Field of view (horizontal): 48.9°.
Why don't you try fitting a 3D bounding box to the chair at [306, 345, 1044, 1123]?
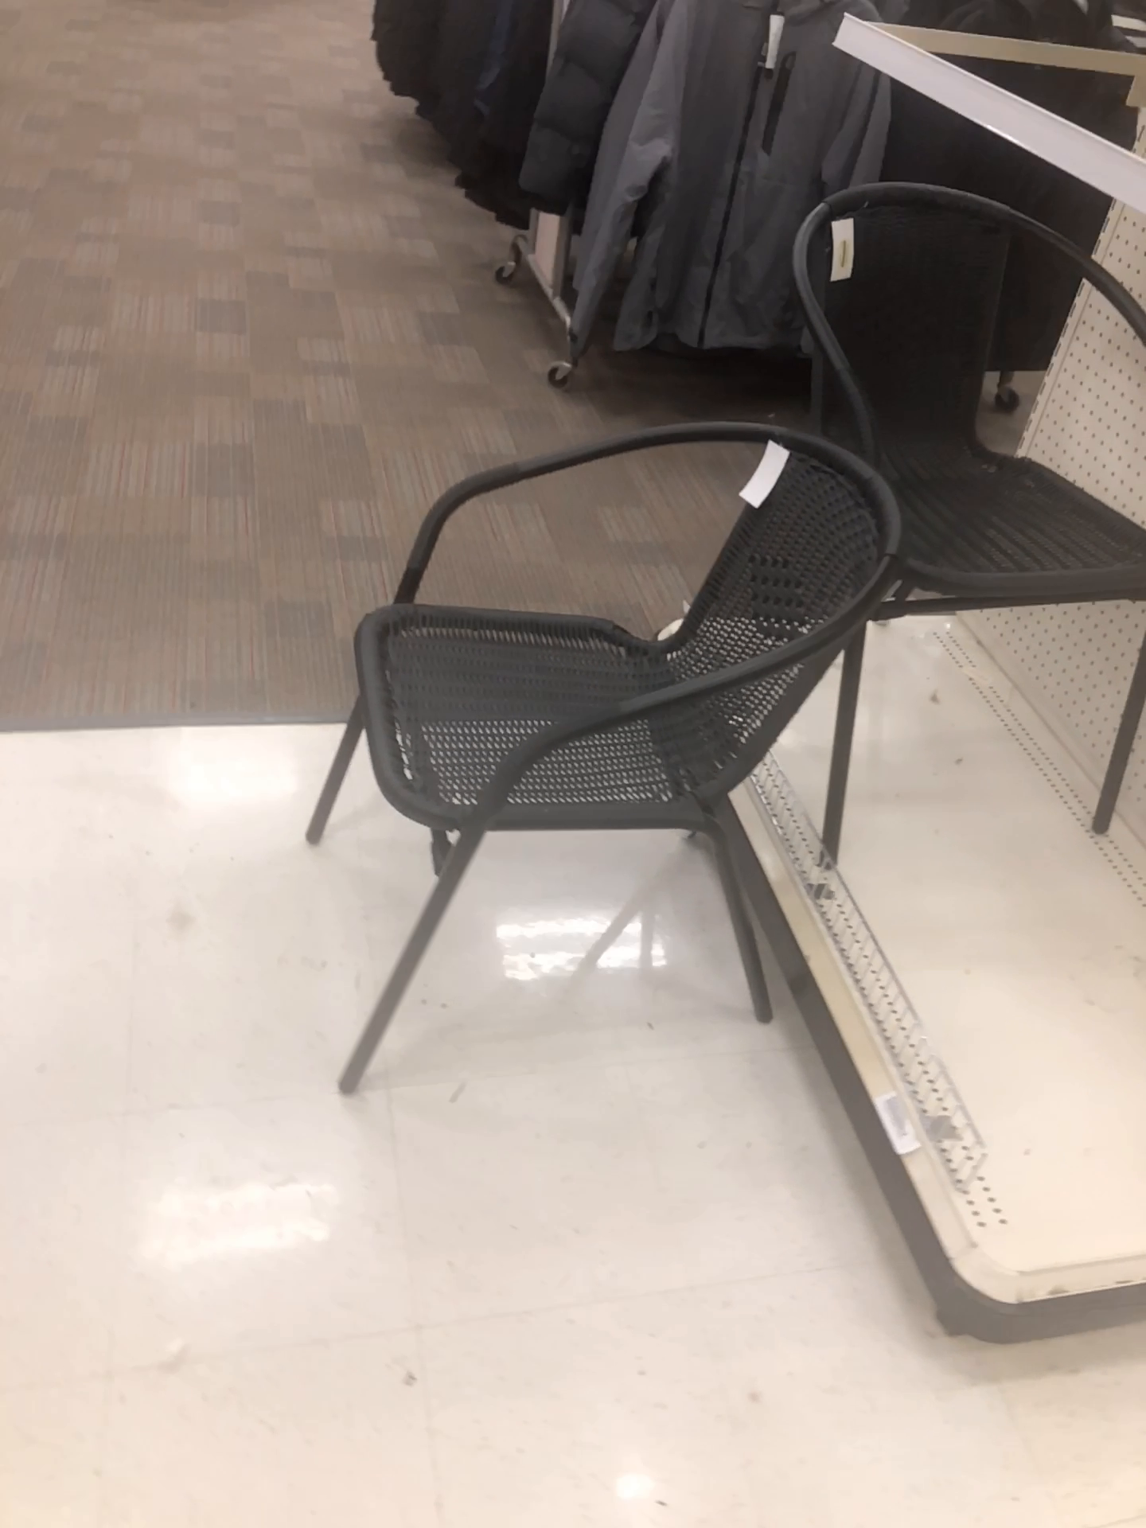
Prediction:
[{"bbox_3d":[0.022,-0.030,1.497,0.640,0.696,0.532,0,39,-14],"label":"chair"}]
